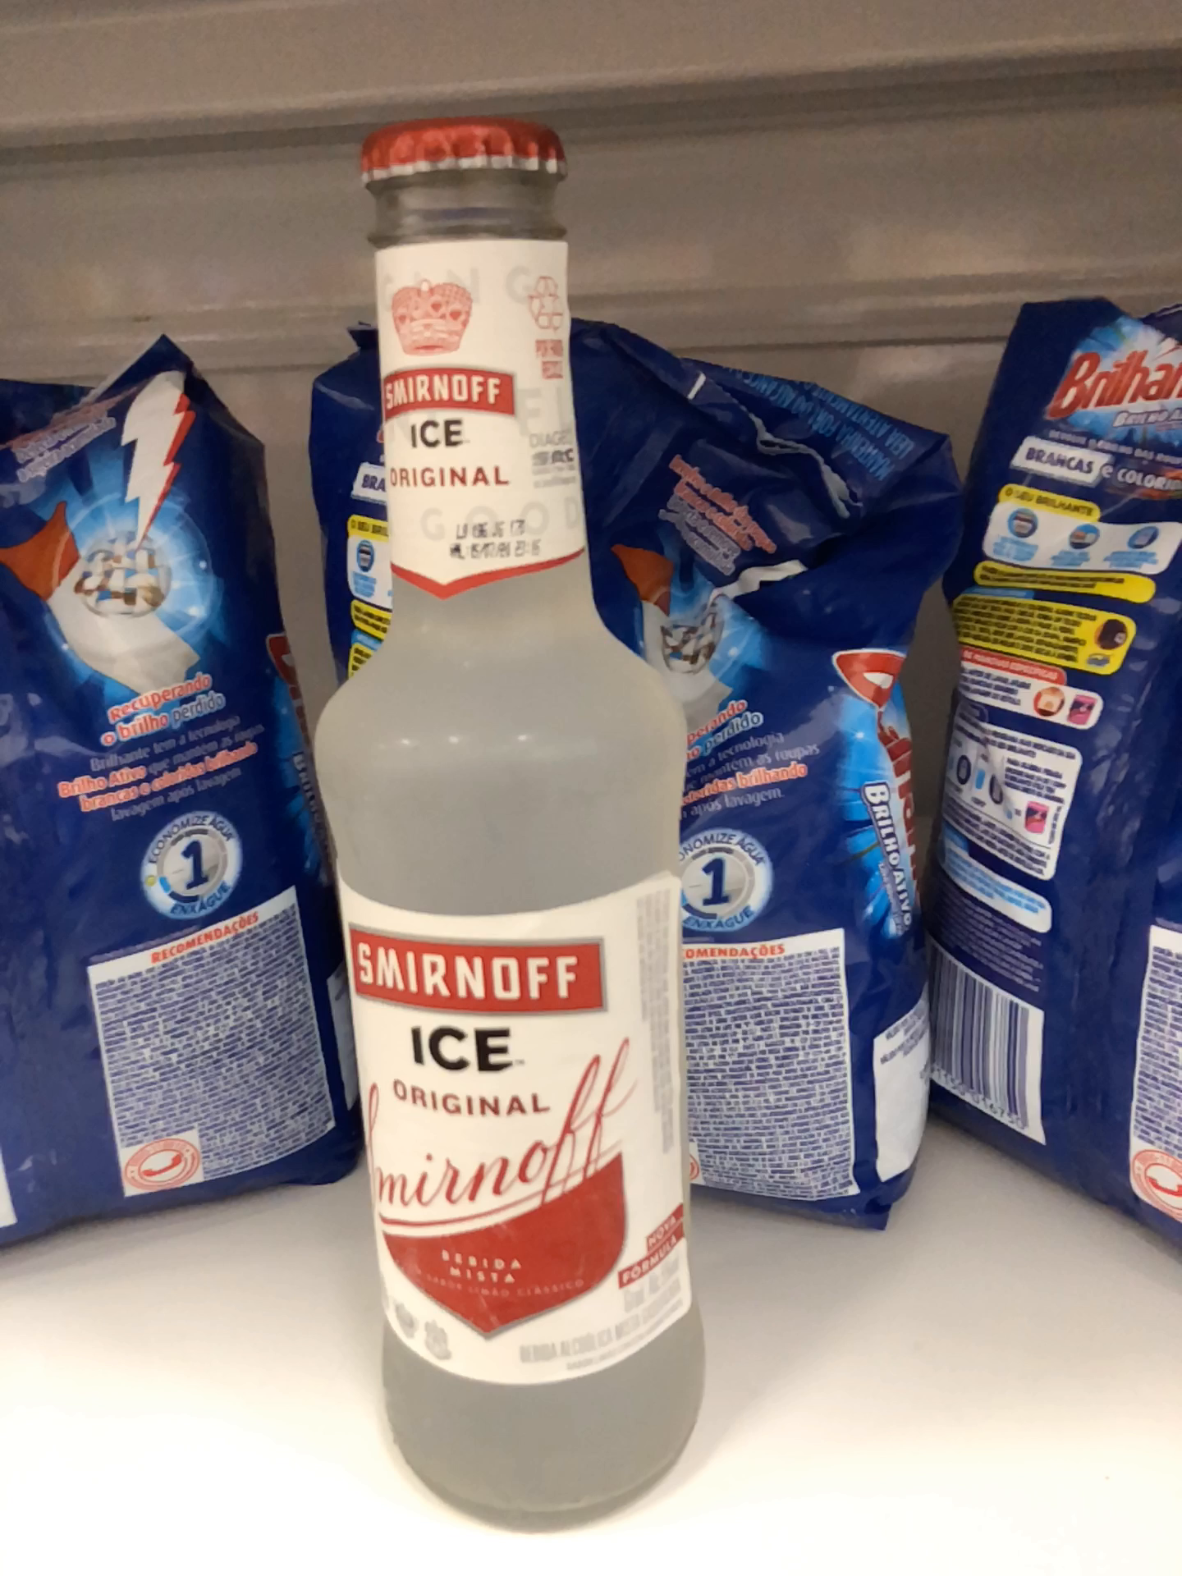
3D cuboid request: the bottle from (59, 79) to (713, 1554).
[{"bbox_3d":[-0.021,0.010,0.214,0.070,0.209,0.060,2,17,15],"label":"bottle"}]
